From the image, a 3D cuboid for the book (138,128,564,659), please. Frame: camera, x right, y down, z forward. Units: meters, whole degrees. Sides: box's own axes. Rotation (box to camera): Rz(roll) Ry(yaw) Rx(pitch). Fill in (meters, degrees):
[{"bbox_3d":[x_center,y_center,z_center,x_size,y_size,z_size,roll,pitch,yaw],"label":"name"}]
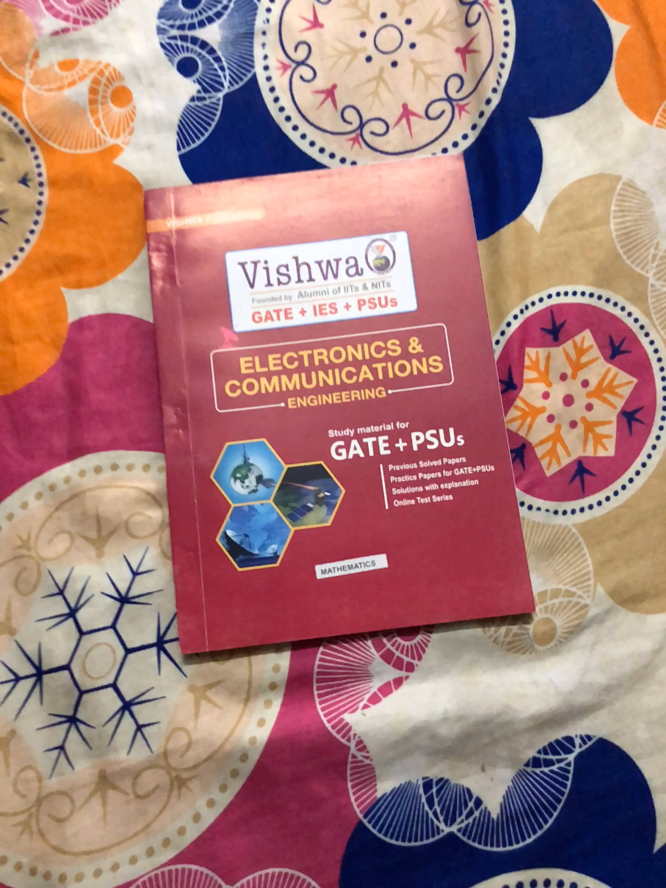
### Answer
[{"bbox_3d":[0.003,-0.038,0.448,0.217,0.030,0.300,-6,79,-2],"label":"book"}]
